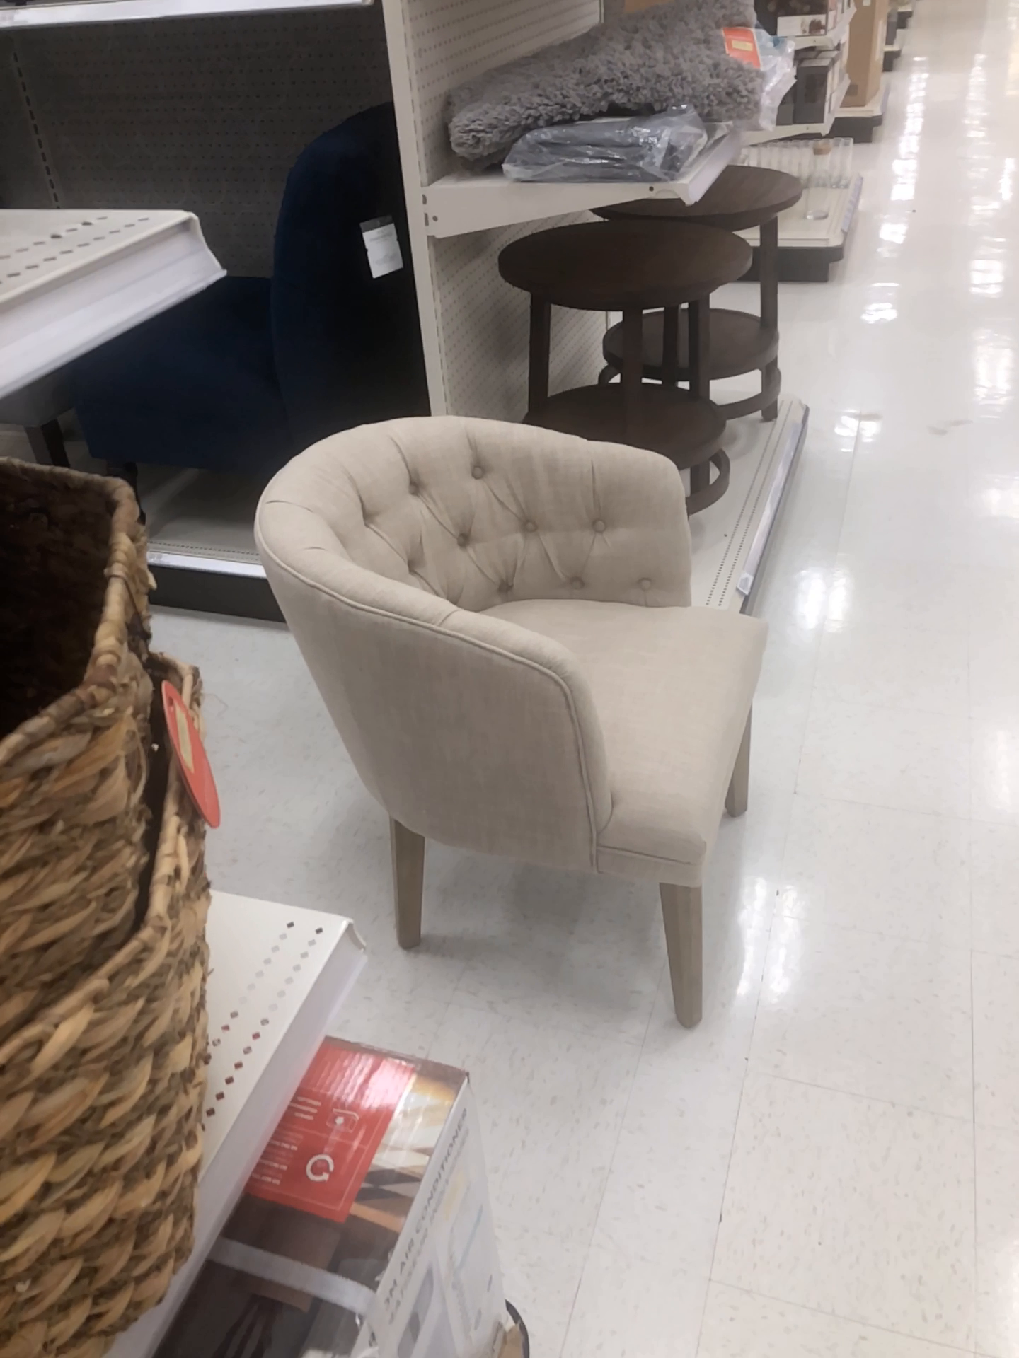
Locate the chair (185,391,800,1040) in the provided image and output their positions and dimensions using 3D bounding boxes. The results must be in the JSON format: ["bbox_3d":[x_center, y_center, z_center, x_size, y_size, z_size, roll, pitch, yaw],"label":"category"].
[{"bbox_3d":[0.037,0.024,1.668,0.682,0.700,0.563,6,37,15],"label":"chair"}]
